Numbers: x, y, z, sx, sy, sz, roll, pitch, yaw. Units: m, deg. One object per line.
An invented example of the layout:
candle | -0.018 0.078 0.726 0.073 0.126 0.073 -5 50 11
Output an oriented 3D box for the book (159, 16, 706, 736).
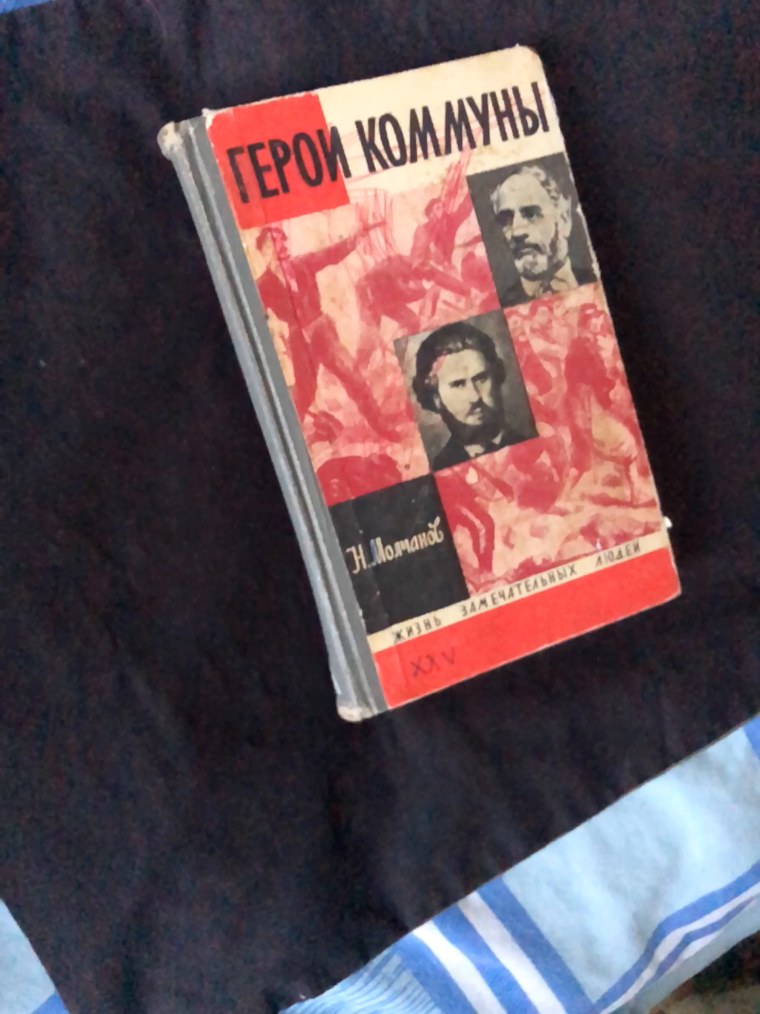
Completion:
book | 0.018 -0.044 0.302 0.128 0.060 0.200 -19 98 -12
